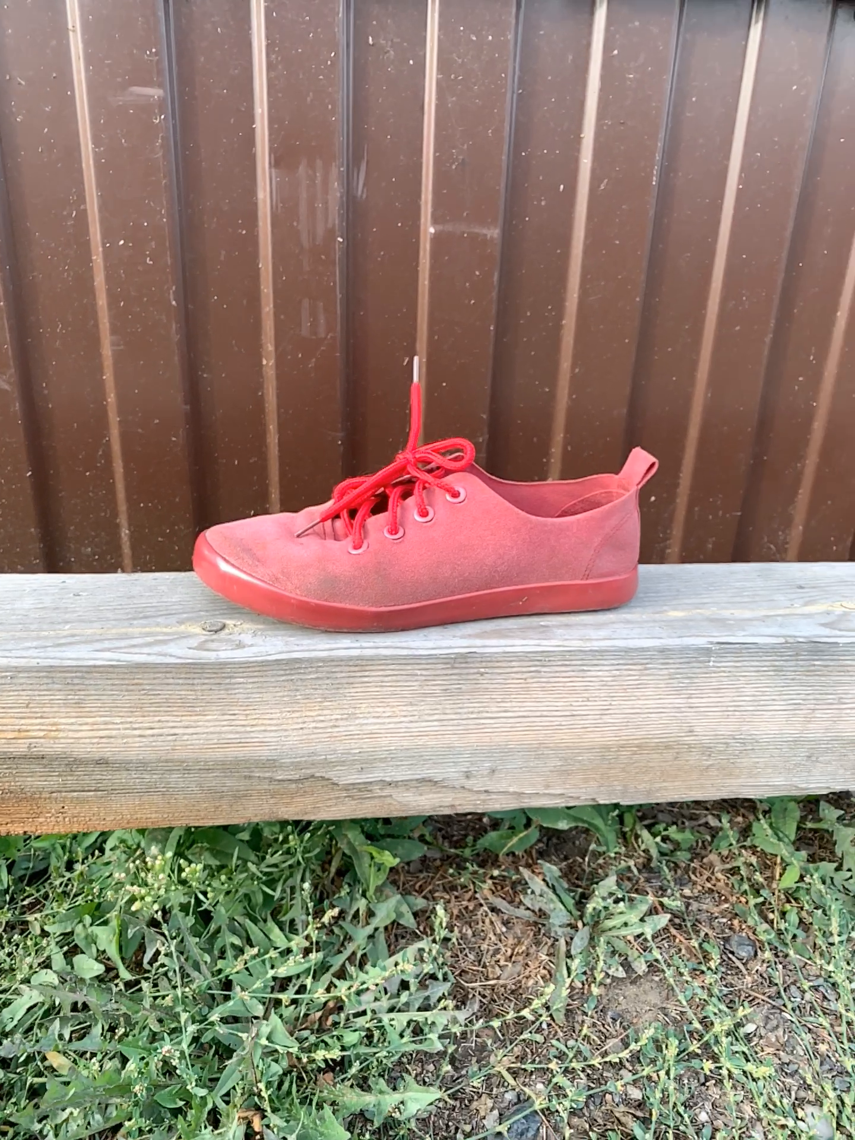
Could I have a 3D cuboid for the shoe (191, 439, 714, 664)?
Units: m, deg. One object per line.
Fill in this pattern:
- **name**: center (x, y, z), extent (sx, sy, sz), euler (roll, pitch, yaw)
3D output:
- **shoe**: center (0.007, -0.017, 0.449), extent (0.240, 0.069, 0.101), euler (-4, 22, -13)
